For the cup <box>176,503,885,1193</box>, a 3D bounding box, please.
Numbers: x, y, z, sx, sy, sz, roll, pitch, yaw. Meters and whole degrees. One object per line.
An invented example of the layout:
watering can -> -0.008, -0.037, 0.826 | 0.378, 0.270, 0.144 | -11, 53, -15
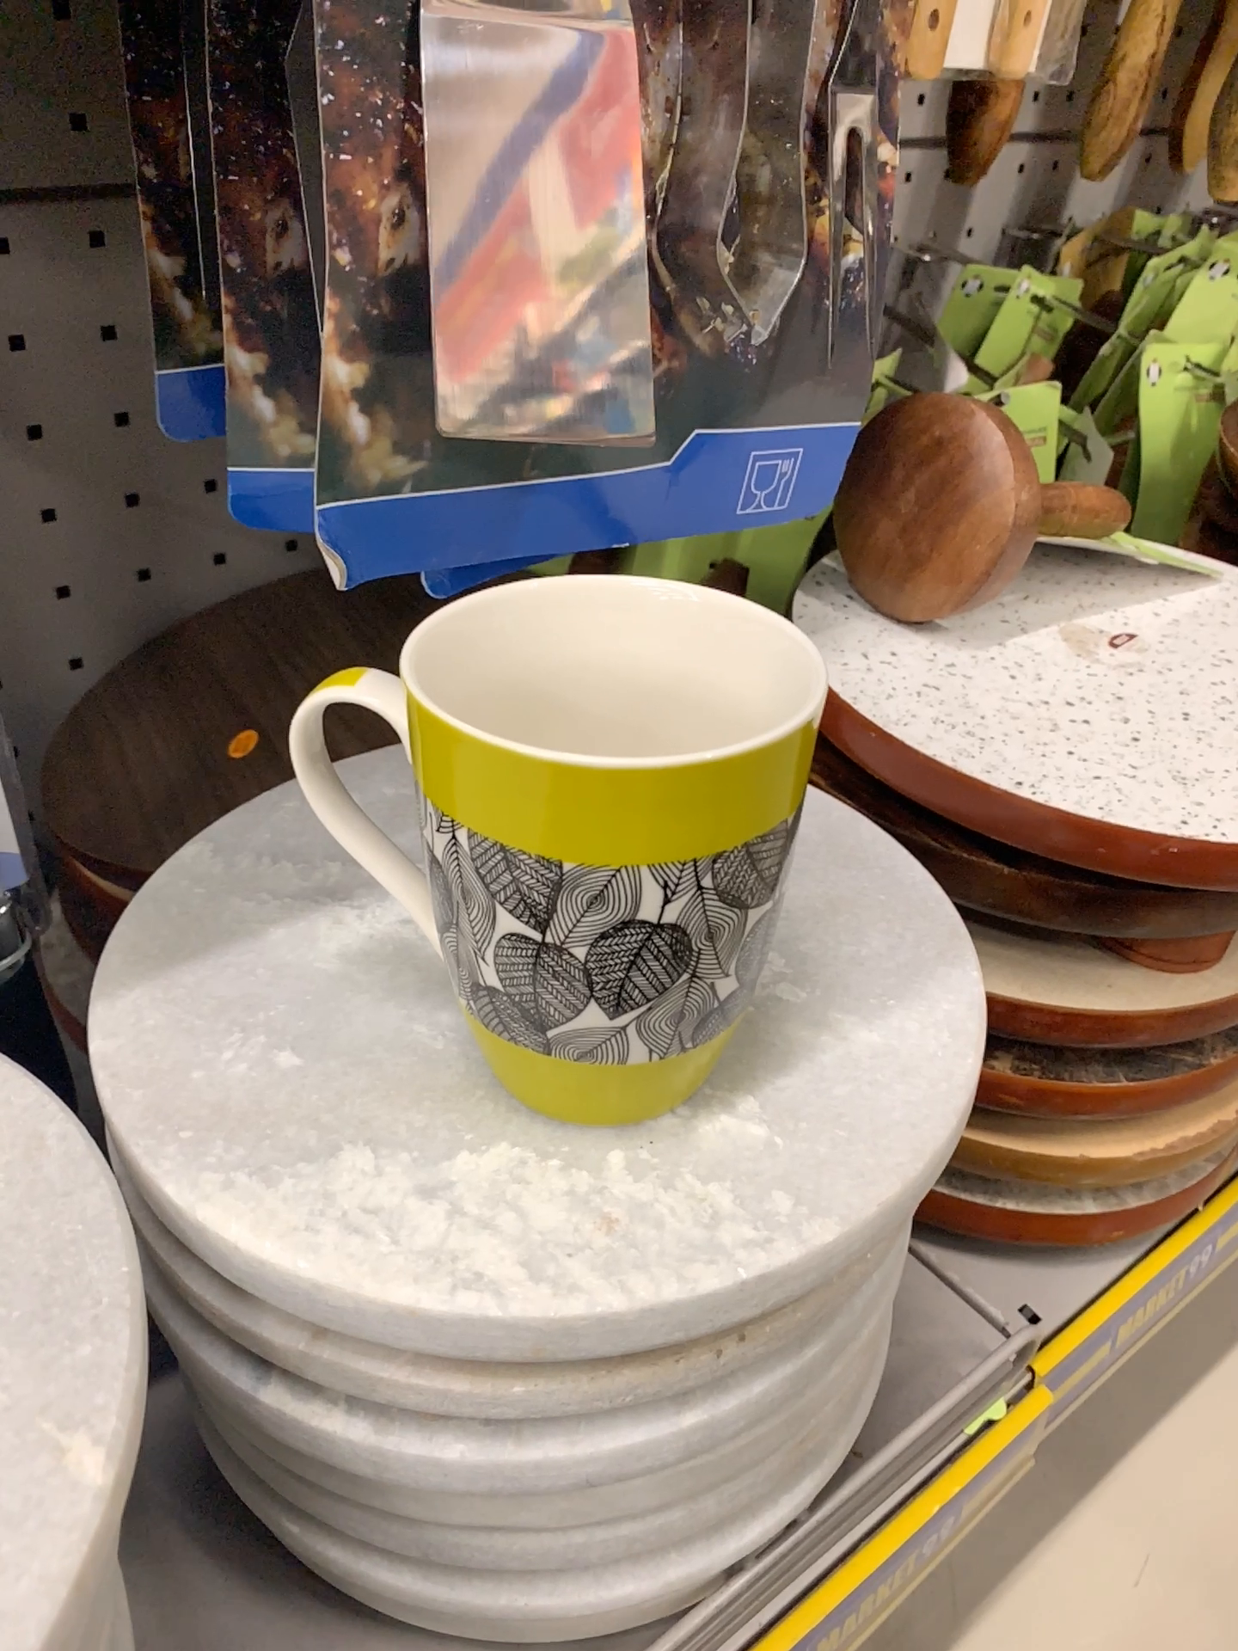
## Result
cup -> -0.014, 0.000, 0.263 | 0.110, 0.090, 0.080 | 14, 35, 13
